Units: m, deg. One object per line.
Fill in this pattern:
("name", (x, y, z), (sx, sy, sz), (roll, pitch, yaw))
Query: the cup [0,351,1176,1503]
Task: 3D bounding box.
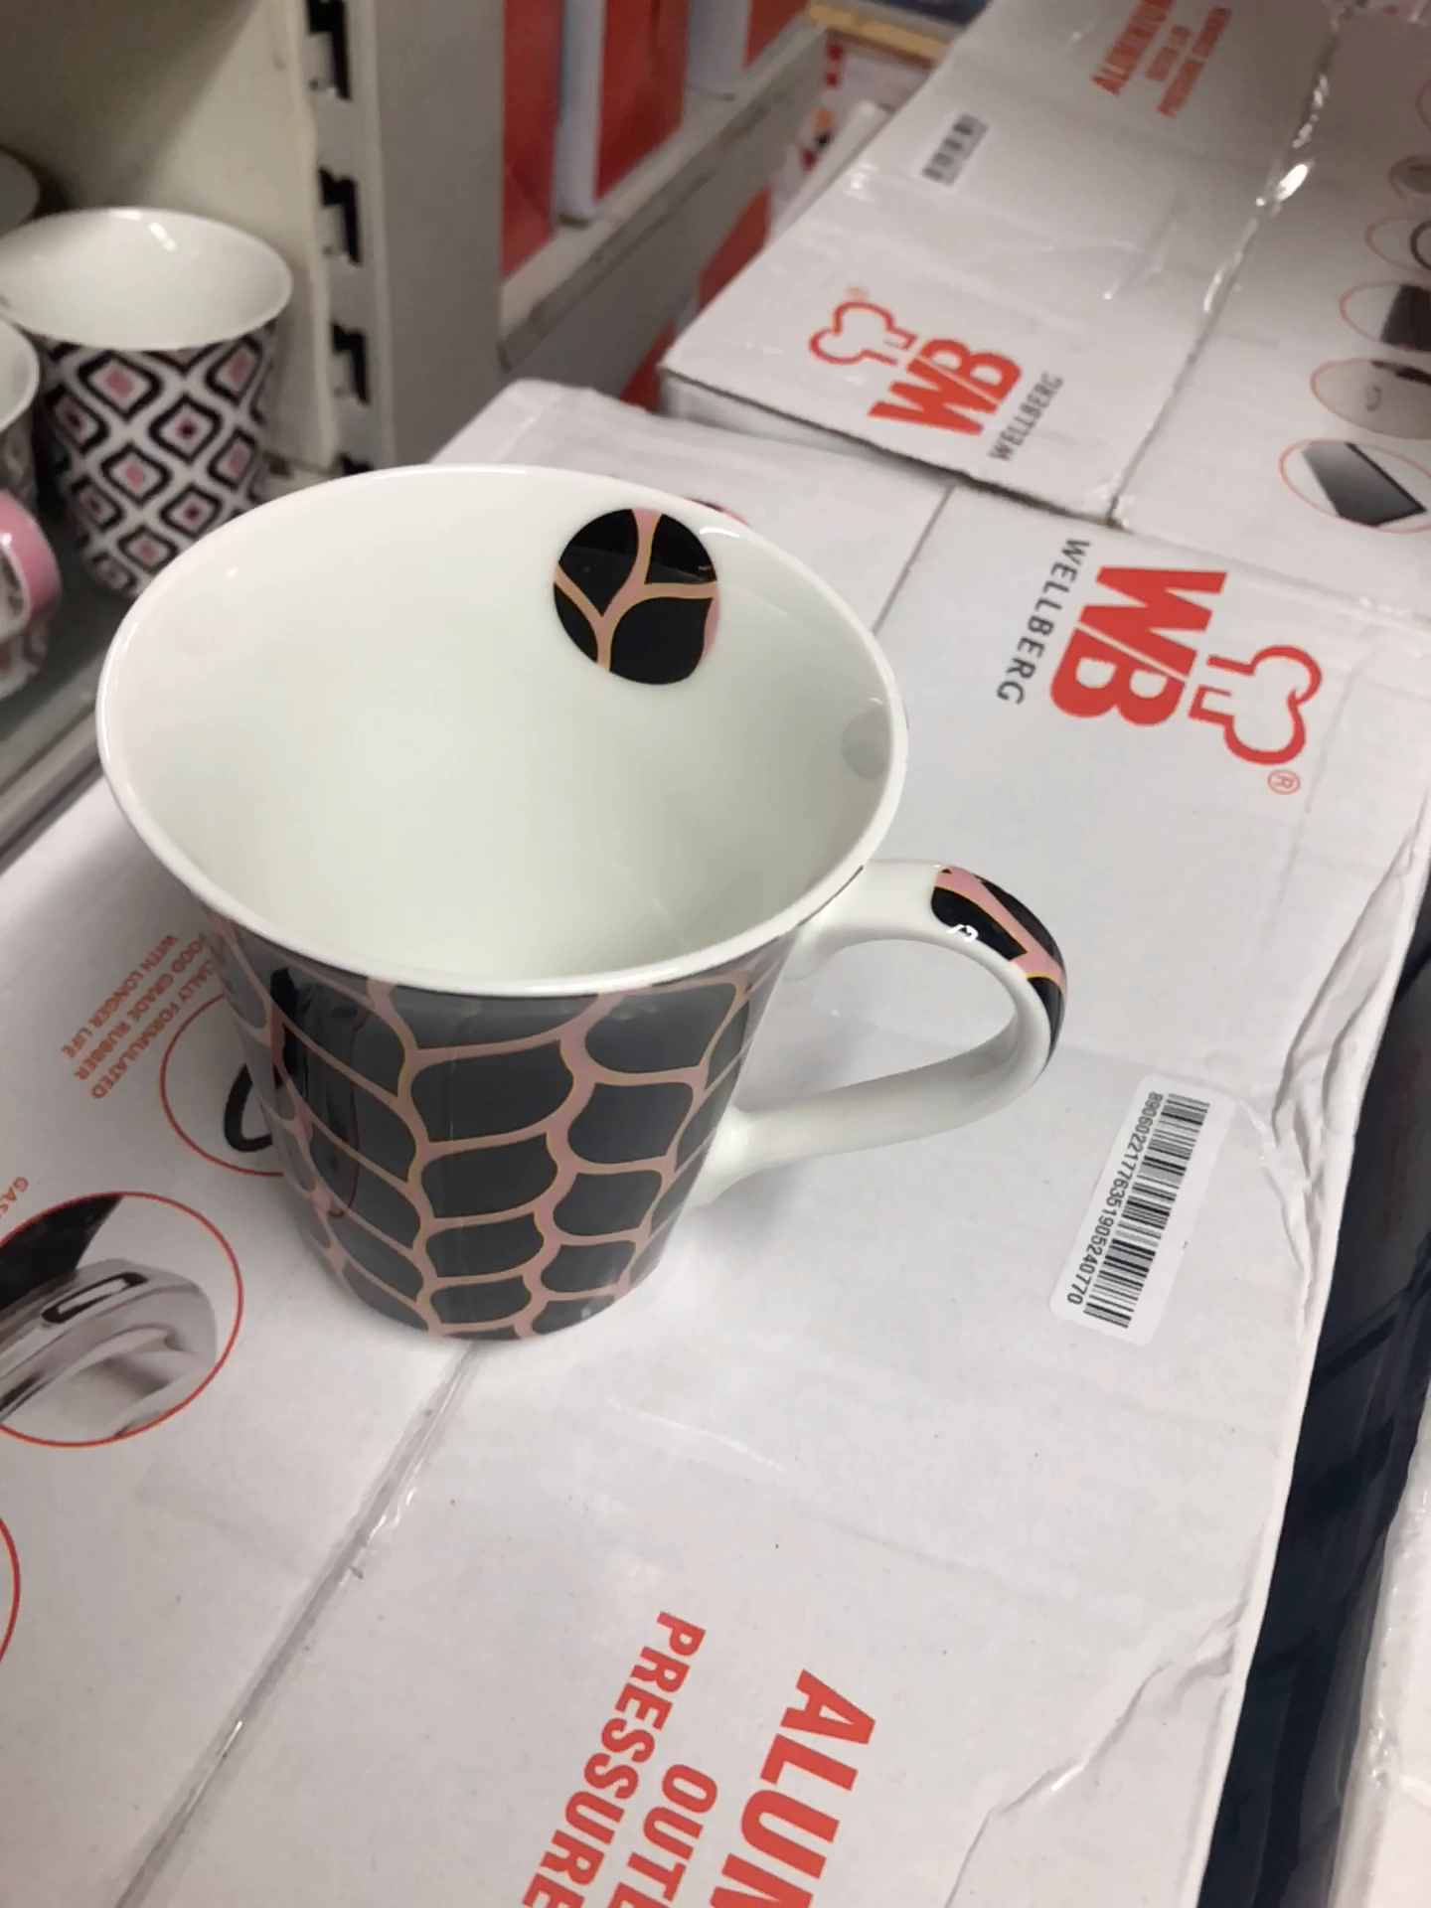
("cup", (-0.013, 0.000, 0.208), (0.110, 0.099, 0.080), (14, 51, 4))
